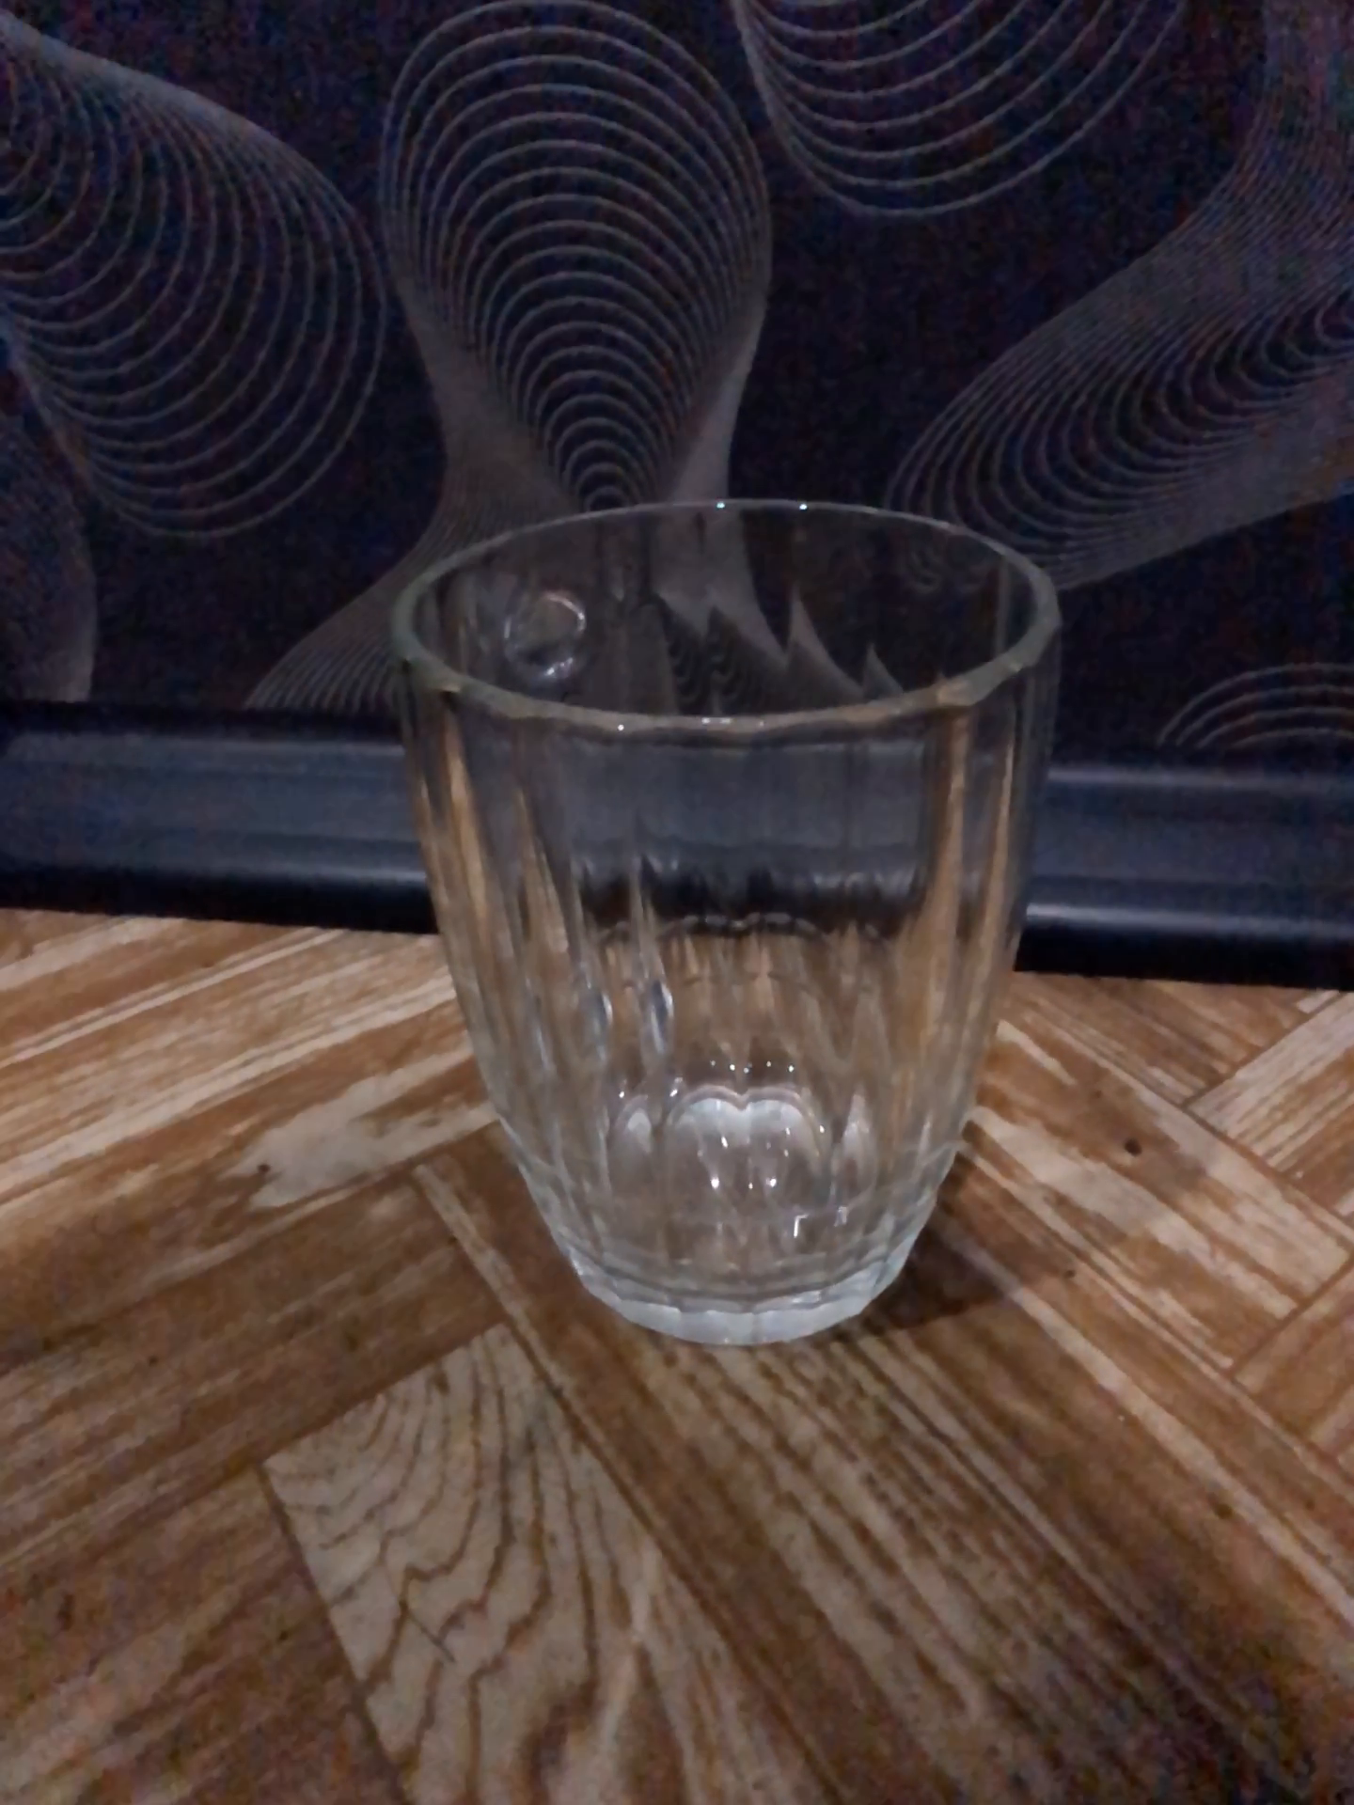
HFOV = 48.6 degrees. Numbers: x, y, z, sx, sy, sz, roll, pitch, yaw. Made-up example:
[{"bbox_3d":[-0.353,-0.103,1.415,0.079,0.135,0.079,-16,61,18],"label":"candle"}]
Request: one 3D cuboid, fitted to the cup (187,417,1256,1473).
[{"bbox_3d":[0.001,-0.009,0.255,0.114,0.107,0.126,-19,33,-26],"label":"cup"}]
